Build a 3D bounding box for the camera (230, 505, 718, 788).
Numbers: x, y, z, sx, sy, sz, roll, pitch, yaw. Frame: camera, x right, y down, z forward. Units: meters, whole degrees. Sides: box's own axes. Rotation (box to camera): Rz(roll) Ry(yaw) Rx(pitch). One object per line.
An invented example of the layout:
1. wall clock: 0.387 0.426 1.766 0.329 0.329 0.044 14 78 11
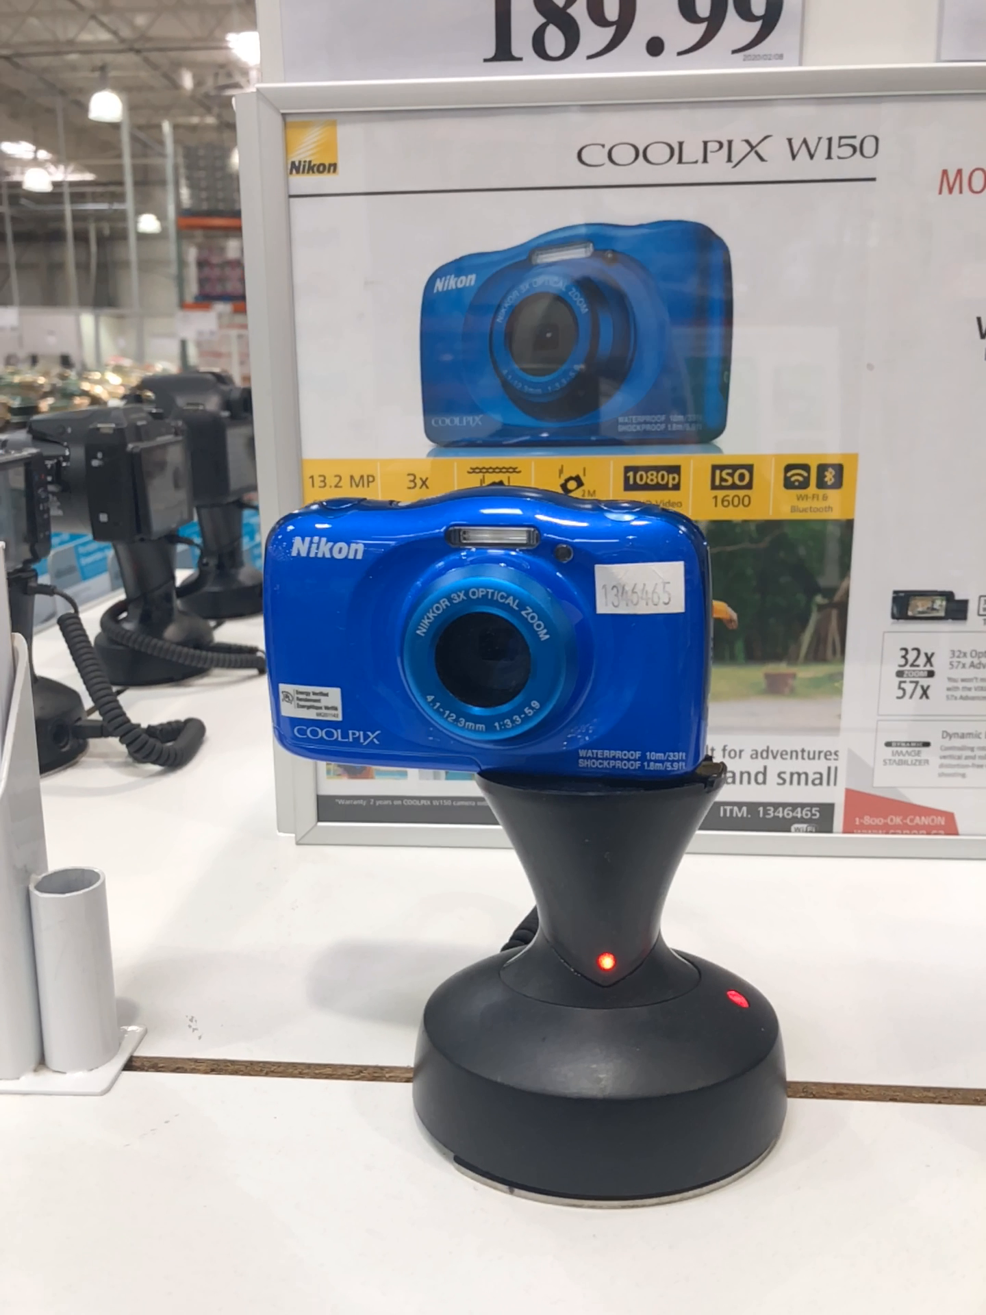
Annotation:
1. camera: -0.003 -0.005 0.271 0.110 0.060 0.040 1 13 8
